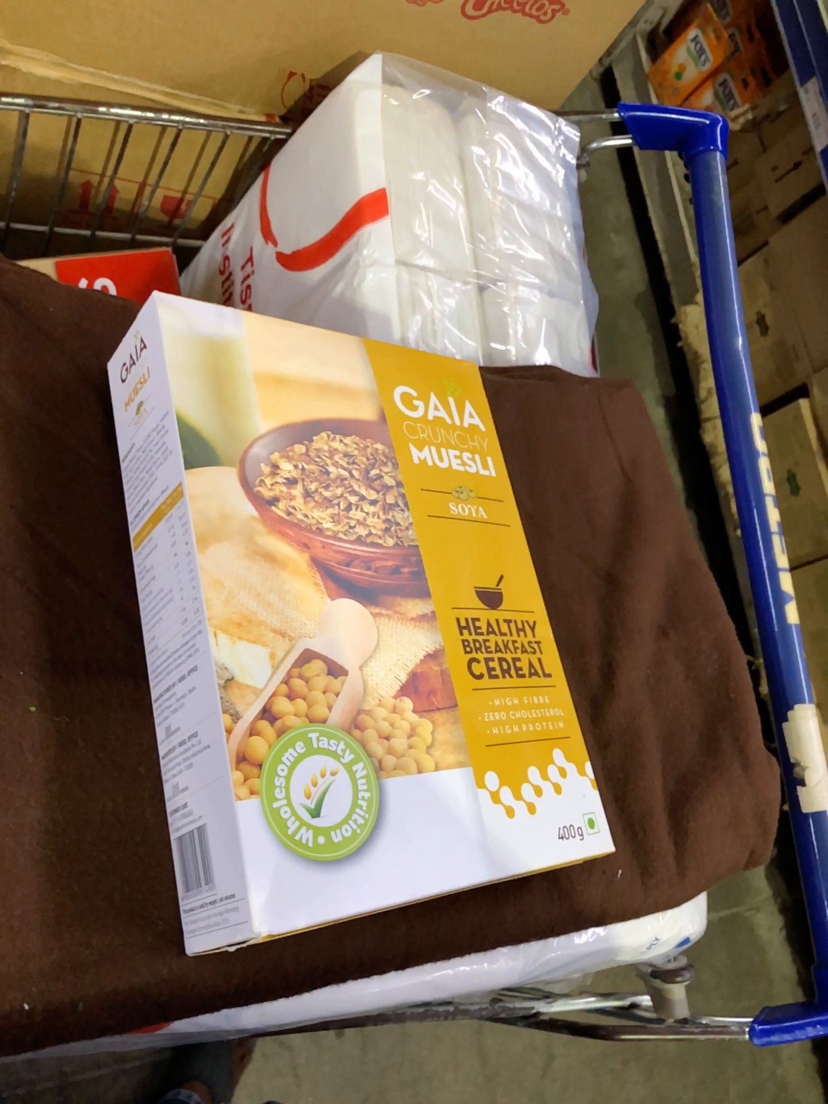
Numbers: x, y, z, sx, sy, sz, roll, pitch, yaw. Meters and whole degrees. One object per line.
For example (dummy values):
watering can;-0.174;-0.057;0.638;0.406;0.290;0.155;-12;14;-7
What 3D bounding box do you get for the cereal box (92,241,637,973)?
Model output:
cereal box;-0.021;0.015;0.363;0.170;0.060;0.240;3;67;-39
